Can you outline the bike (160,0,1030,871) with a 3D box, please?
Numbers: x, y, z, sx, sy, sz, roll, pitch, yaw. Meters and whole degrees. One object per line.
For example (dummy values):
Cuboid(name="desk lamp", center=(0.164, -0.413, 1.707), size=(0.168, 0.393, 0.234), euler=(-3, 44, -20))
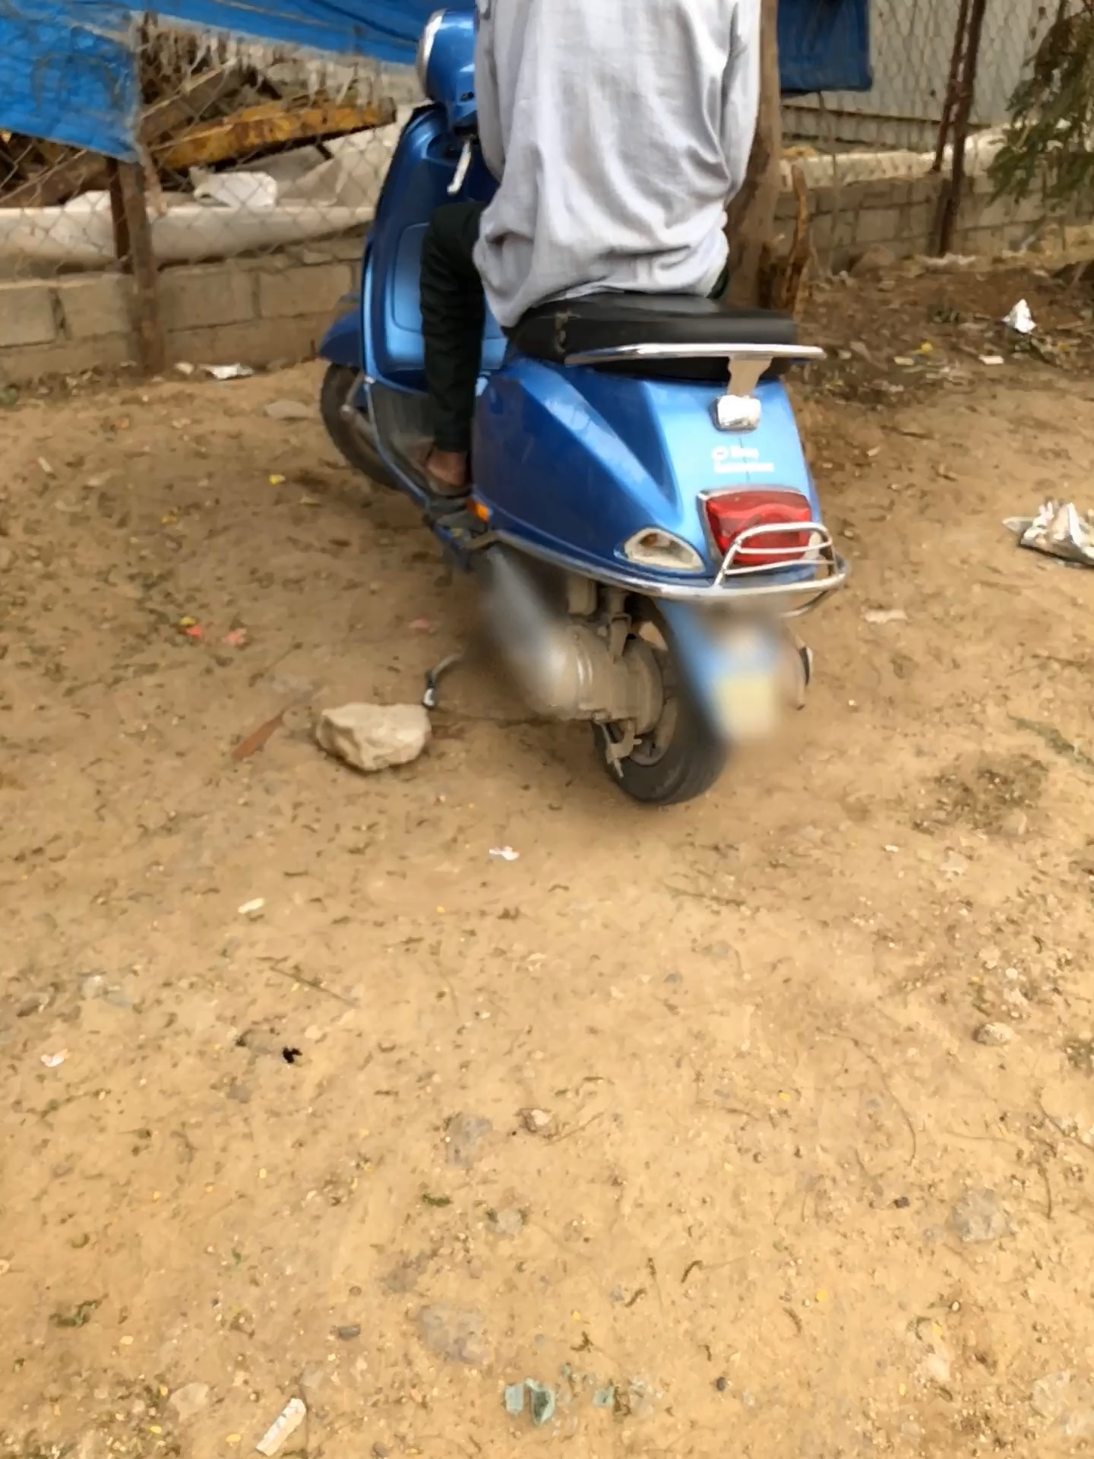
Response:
Cuboid(name="bike", center=(-0.081, -0.806, 2.333), size=(0.634, 1.253, 1.570), euler=(-15, 40, -28))
